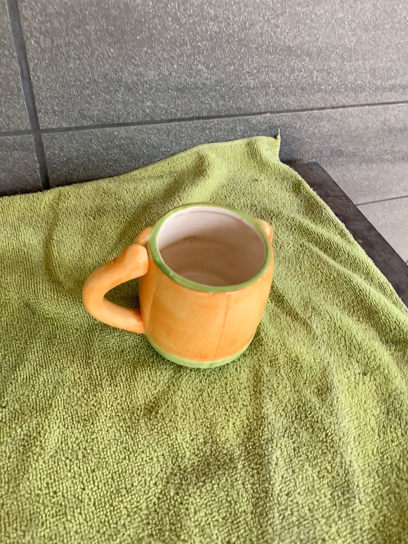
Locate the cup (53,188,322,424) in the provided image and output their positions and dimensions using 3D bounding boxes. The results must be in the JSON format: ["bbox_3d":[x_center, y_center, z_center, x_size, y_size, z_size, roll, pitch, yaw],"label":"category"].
[{"bbox_3d":[-0.016,0.019,0.269,0.130,0.100,0.080,-12,51,-19],"label":"cup"}]
